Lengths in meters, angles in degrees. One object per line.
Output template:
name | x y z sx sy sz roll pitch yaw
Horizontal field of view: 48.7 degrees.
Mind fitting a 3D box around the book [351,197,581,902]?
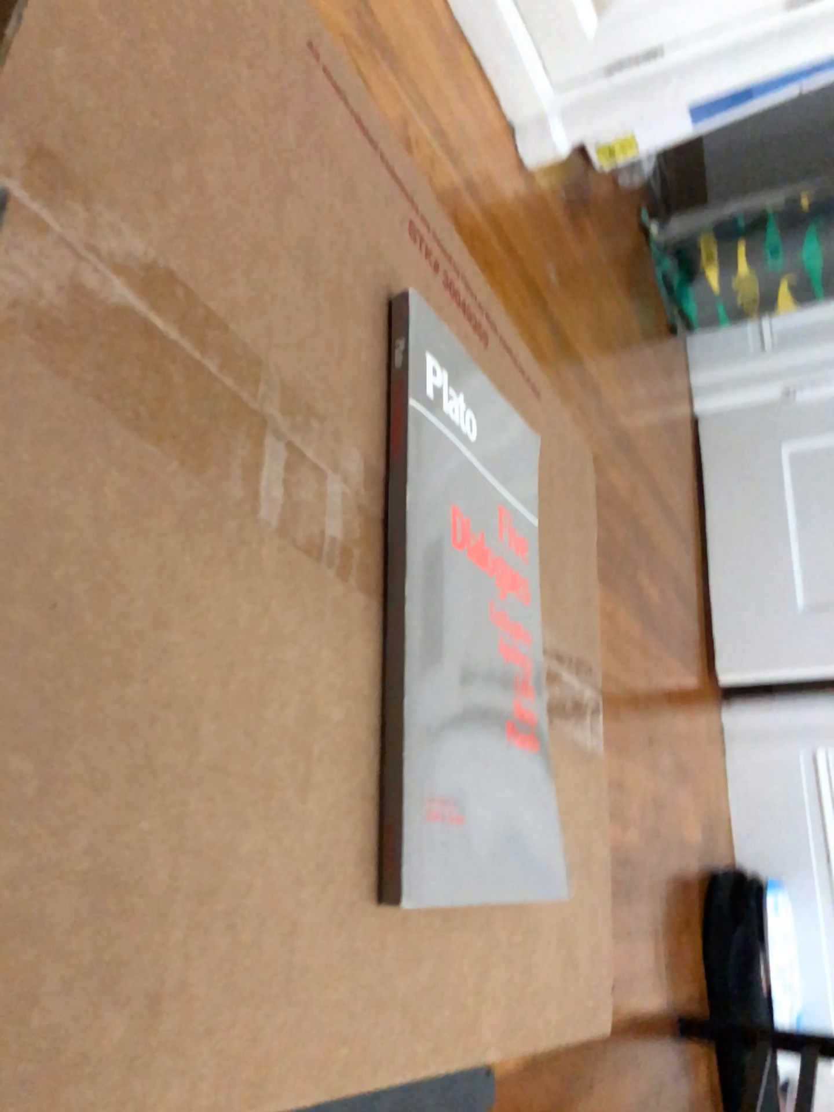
book | 0.023 0.006 0.335 0.141 0.020 0.220 33 53 -58
